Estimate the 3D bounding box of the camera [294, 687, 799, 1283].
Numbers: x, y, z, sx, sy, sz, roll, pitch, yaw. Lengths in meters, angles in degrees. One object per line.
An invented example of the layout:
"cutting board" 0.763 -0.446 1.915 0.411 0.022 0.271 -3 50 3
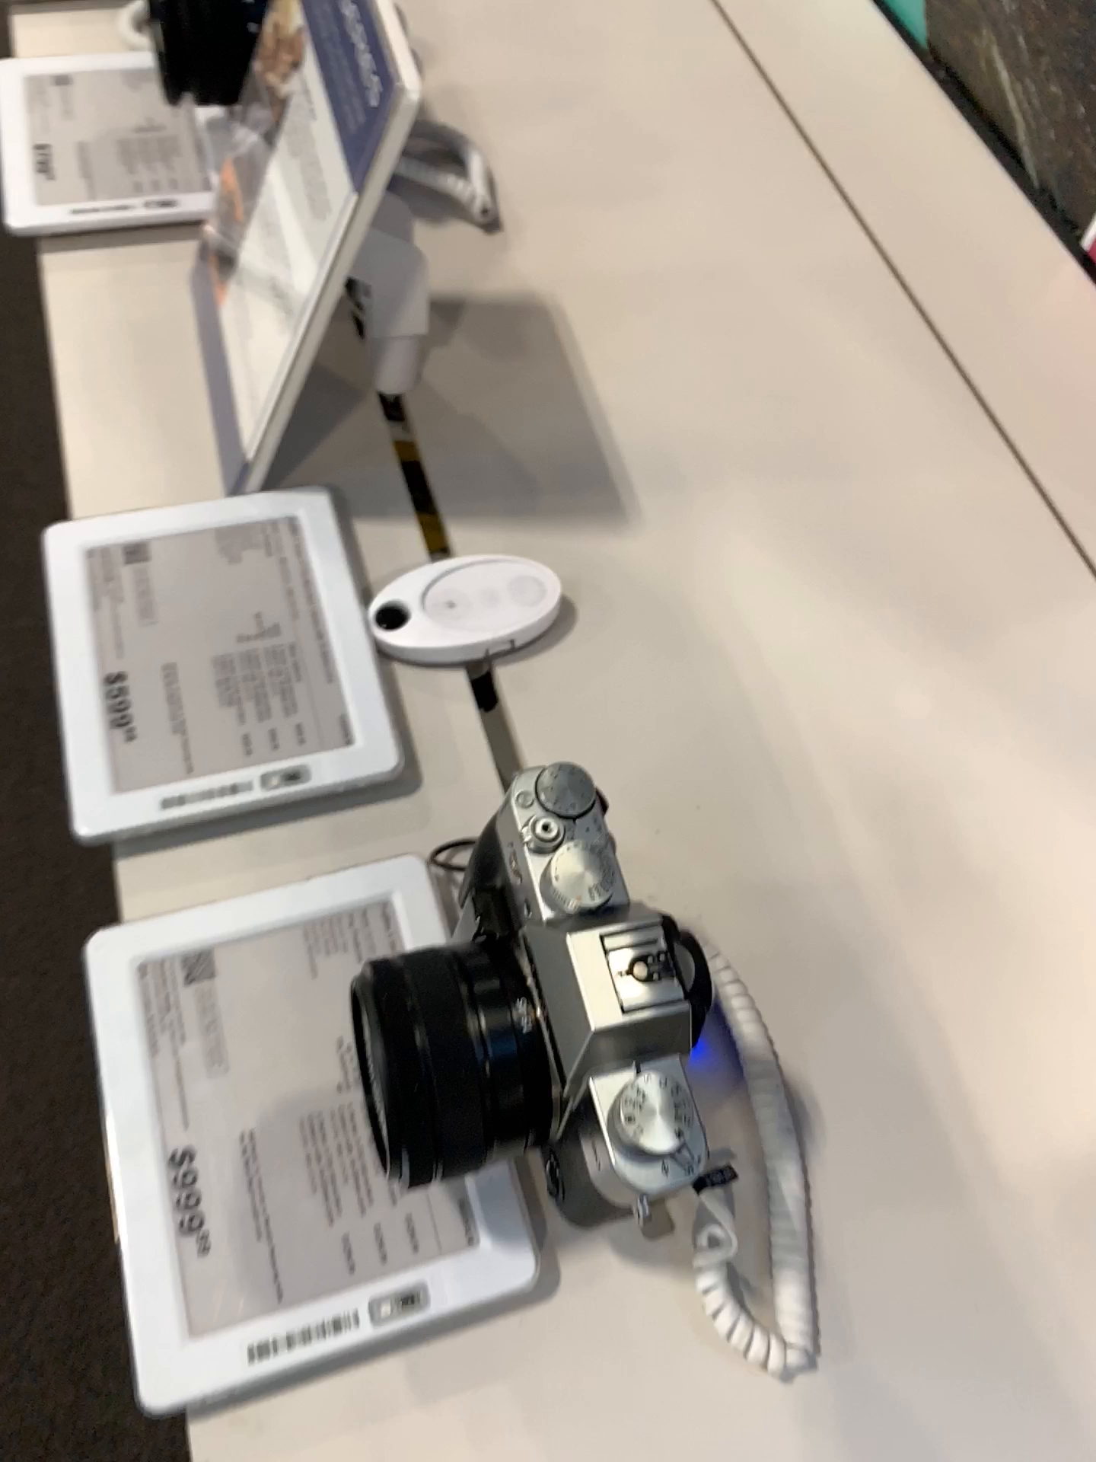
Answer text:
"camera" -0.008 0.071 0.329 0.100 0.080 0.130 -11 61 -12
